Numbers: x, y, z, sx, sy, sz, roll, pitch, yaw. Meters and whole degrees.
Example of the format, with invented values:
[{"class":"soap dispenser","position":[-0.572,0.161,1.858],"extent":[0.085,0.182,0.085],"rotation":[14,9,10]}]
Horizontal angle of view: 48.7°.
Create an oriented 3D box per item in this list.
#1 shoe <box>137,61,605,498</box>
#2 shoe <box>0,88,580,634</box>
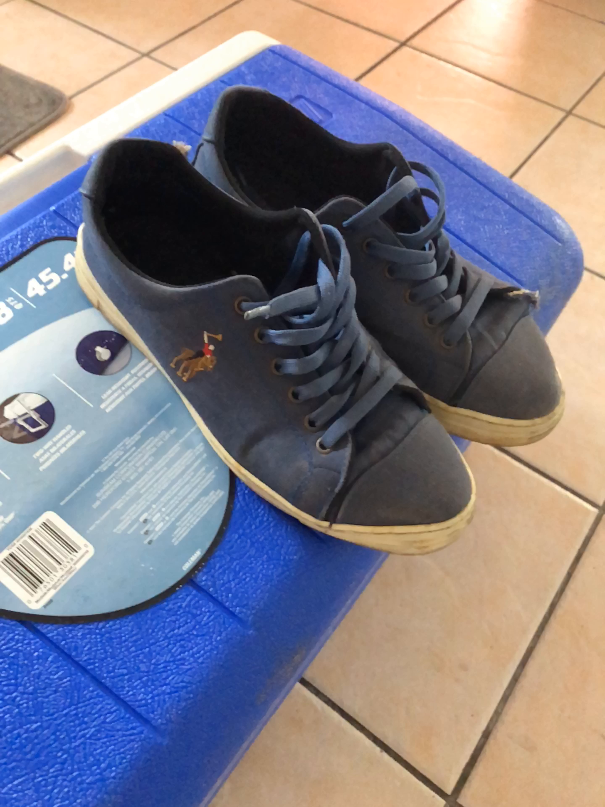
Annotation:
[{"class":"shoe","position":[0.046,-0.080,0.389],"extent":[0.271,0.089,0.108],"rotation":[34,60,16]},{"class":"shoe","position":[-0.018,-0.030,0.342],"extent":[0.271,0.089,0.108],"rotation":[42,63,15]}]
